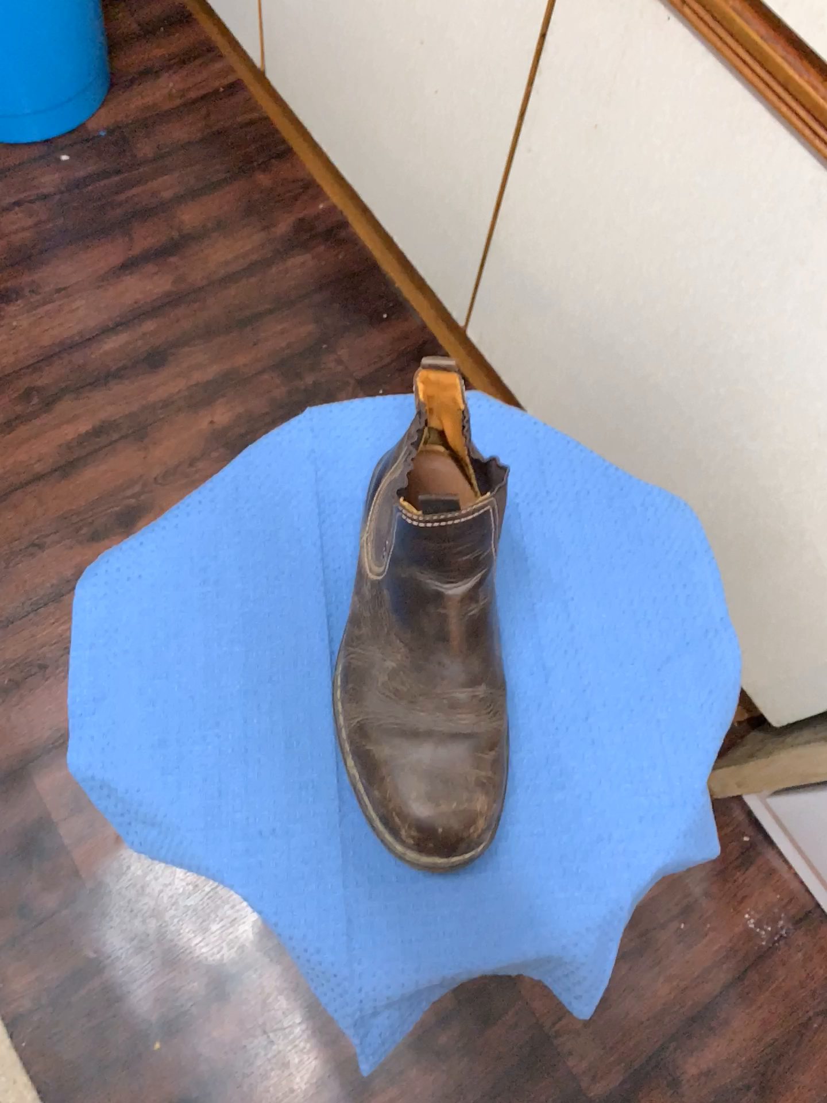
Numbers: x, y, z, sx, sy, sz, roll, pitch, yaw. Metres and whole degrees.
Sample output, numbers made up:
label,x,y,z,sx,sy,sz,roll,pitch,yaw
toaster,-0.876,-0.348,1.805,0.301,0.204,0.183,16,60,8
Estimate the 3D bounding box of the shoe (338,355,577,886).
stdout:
label,x,y,z,sx,sy,sz,roll,pitch,yaw
shoe,0.011,0.048,0.507,0.105,0.157,0.279,1,68,-6
